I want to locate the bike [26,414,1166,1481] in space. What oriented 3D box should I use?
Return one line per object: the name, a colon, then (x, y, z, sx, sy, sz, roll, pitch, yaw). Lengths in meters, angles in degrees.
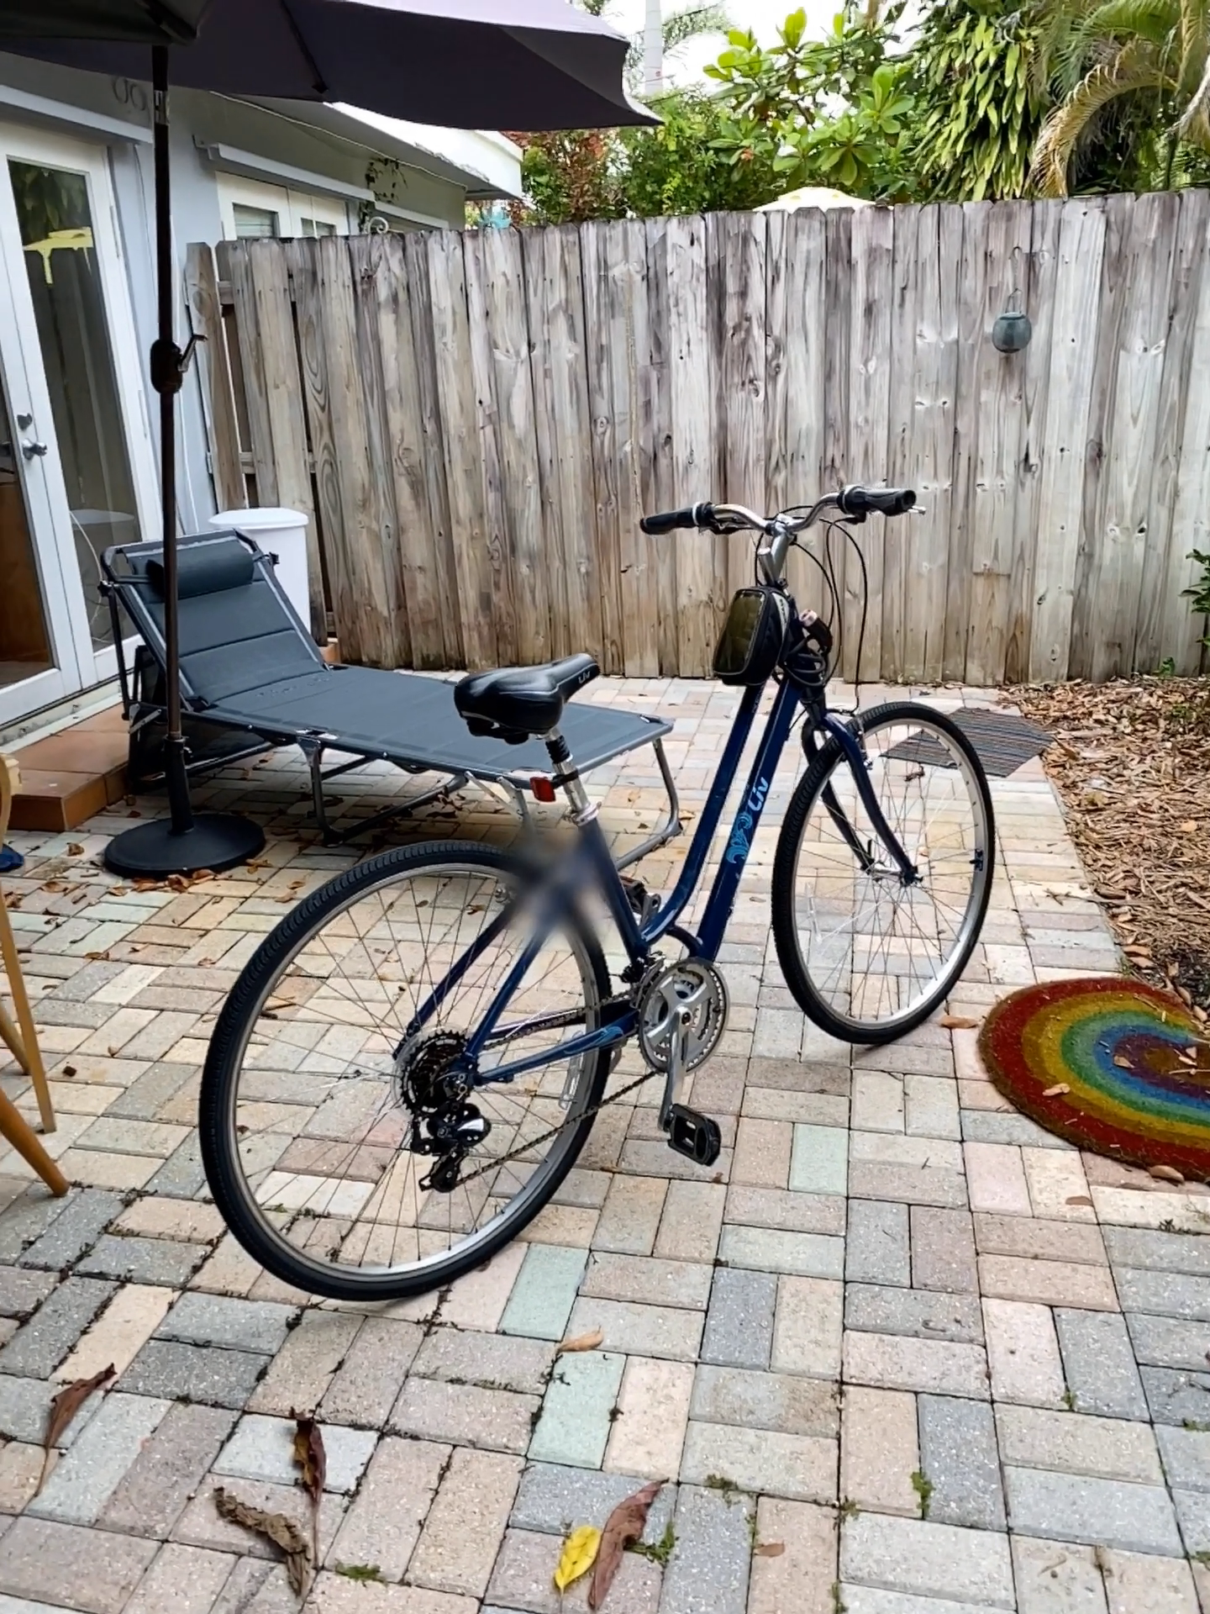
bike: (0.131, 0.011, 2.027, 1.692, 1.067, 0.596, -20, 26, -35)
